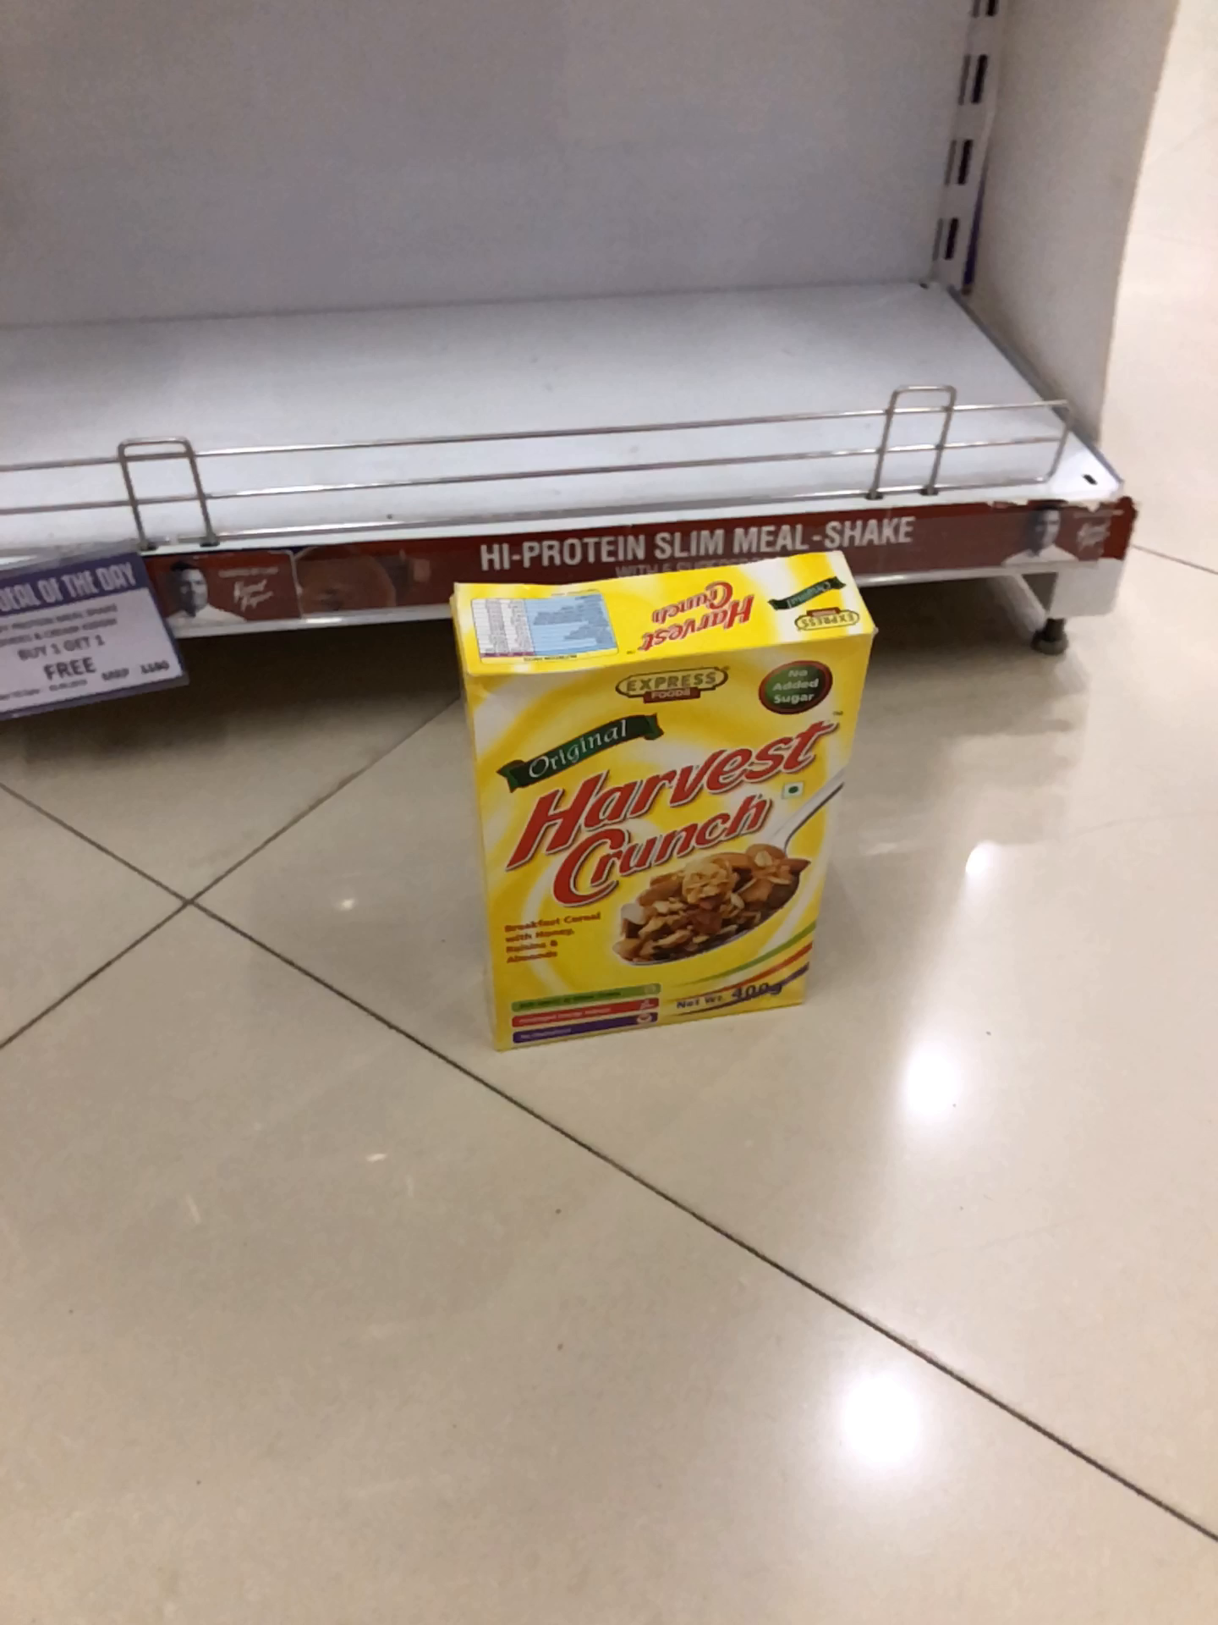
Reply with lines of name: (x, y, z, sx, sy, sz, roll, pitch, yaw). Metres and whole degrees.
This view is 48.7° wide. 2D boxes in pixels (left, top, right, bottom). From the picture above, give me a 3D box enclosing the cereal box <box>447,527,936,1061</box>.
cereal box: (0.027, 0.001, 0.531, 0.160, 0.209, 0.050, -8, 43, -9)
